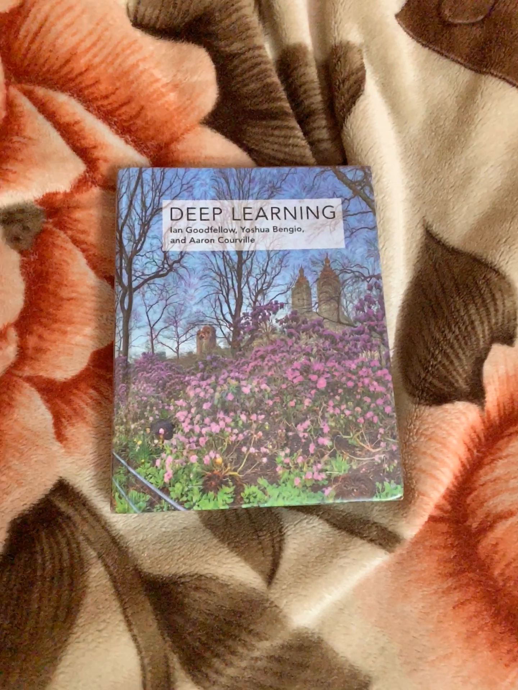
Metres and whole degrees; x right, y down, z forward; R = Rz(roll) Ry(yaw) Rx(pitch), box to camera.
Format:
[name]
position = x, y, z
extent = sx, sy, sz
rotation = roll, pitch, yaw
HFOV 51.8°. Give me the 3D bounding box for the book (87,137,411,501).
[book]
position = -0.010, -0.027, 0.390
extent = 0.210, 0.030, 0.260
rotation = -1, 77, -5
